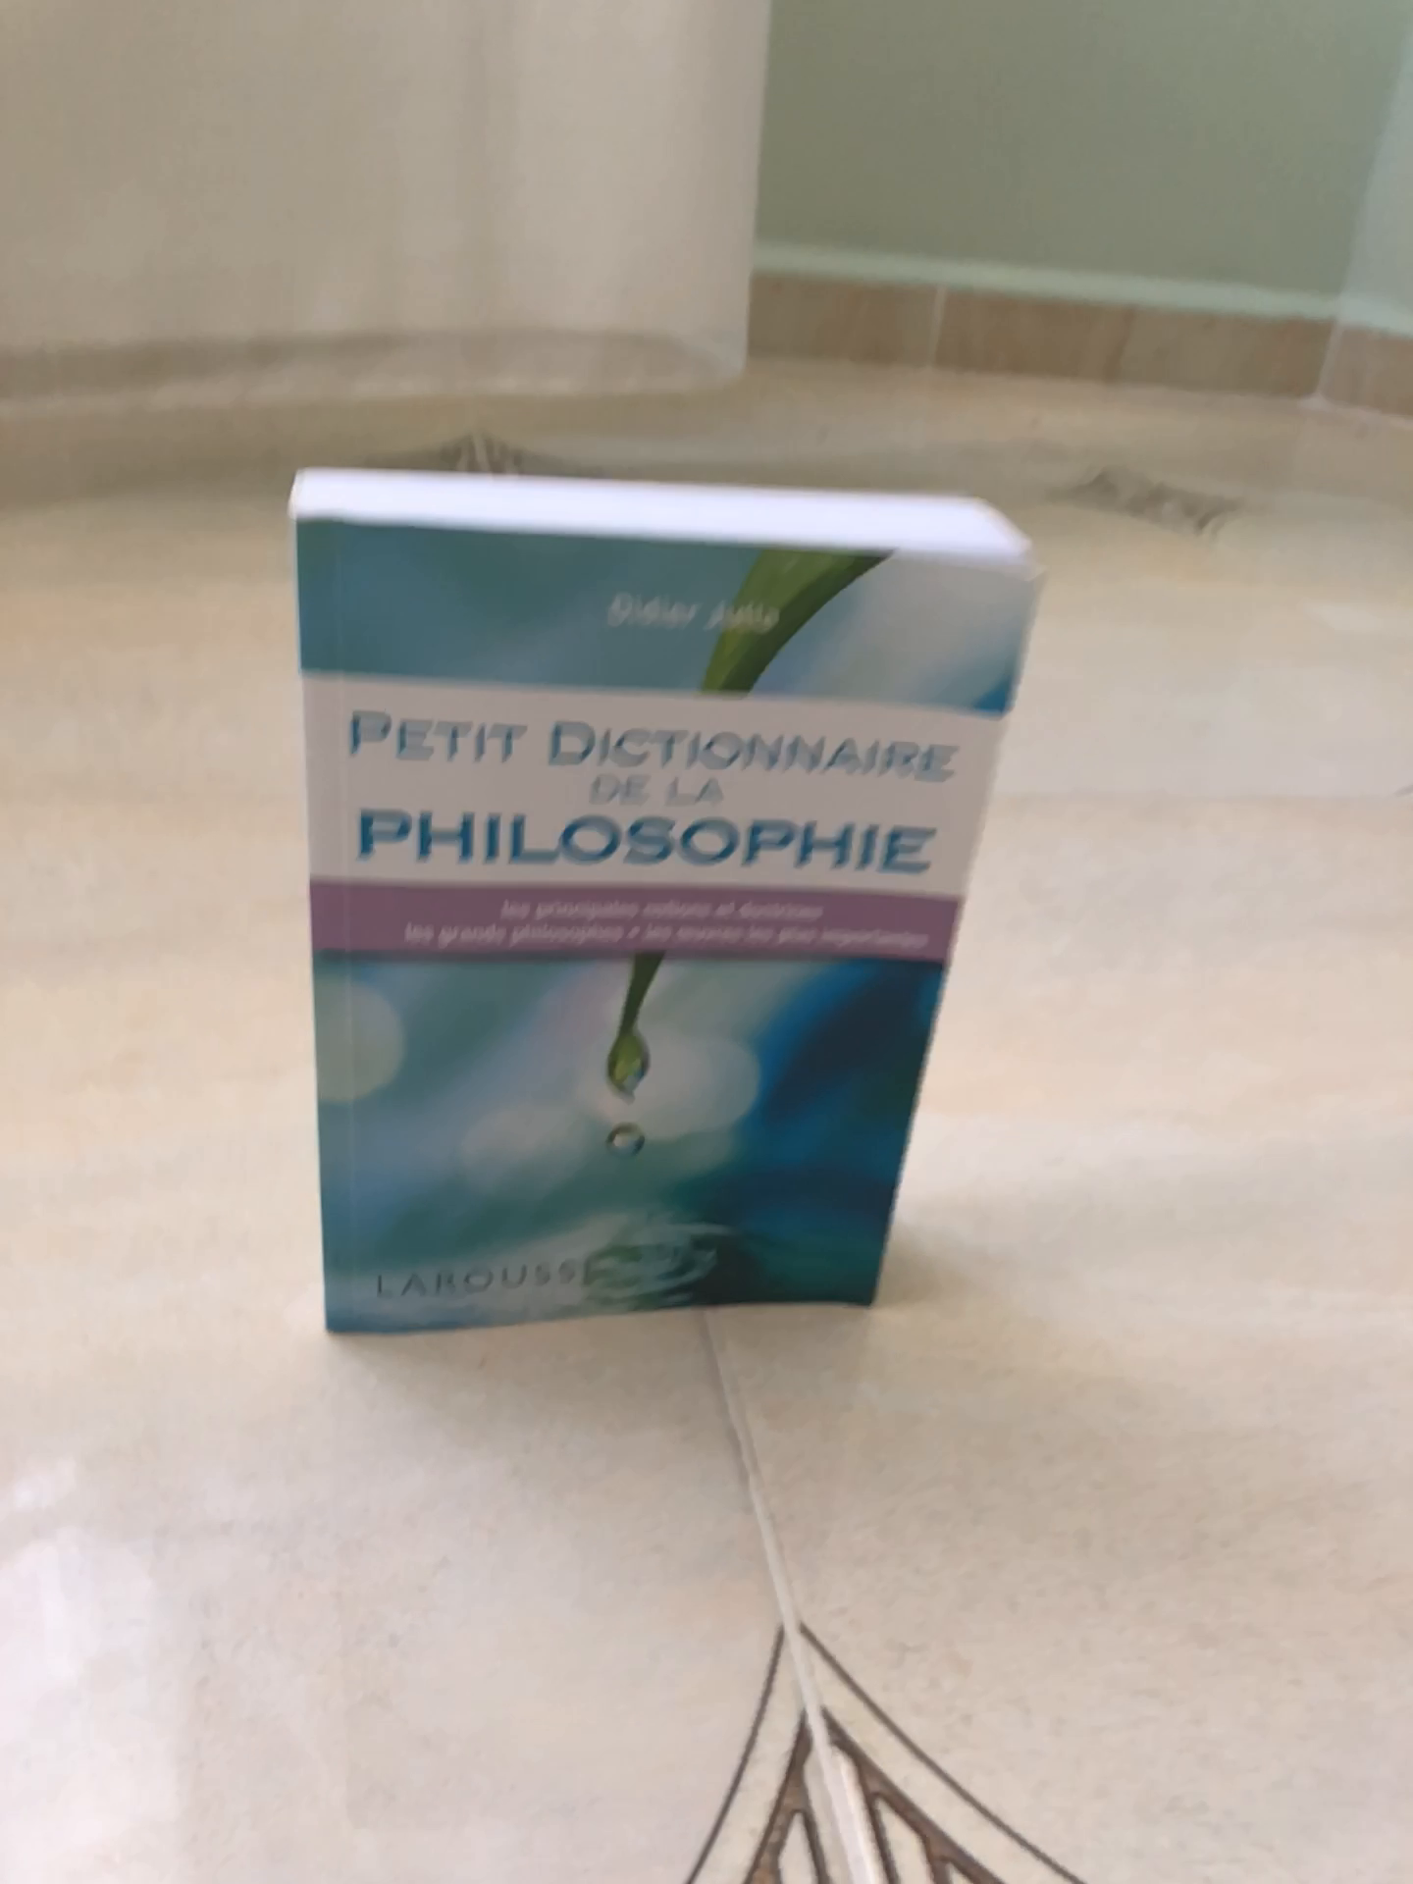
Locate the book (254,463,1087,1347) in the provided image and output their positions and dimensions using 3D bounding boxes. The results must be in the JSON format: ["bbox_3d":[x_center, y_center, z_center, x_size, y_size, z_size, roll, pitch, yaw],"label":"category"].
[{"bbox_3d":[-0.014,0.002,0.324,0.140,0.185,0.035,-1,33,-11],"label":"book"}]
